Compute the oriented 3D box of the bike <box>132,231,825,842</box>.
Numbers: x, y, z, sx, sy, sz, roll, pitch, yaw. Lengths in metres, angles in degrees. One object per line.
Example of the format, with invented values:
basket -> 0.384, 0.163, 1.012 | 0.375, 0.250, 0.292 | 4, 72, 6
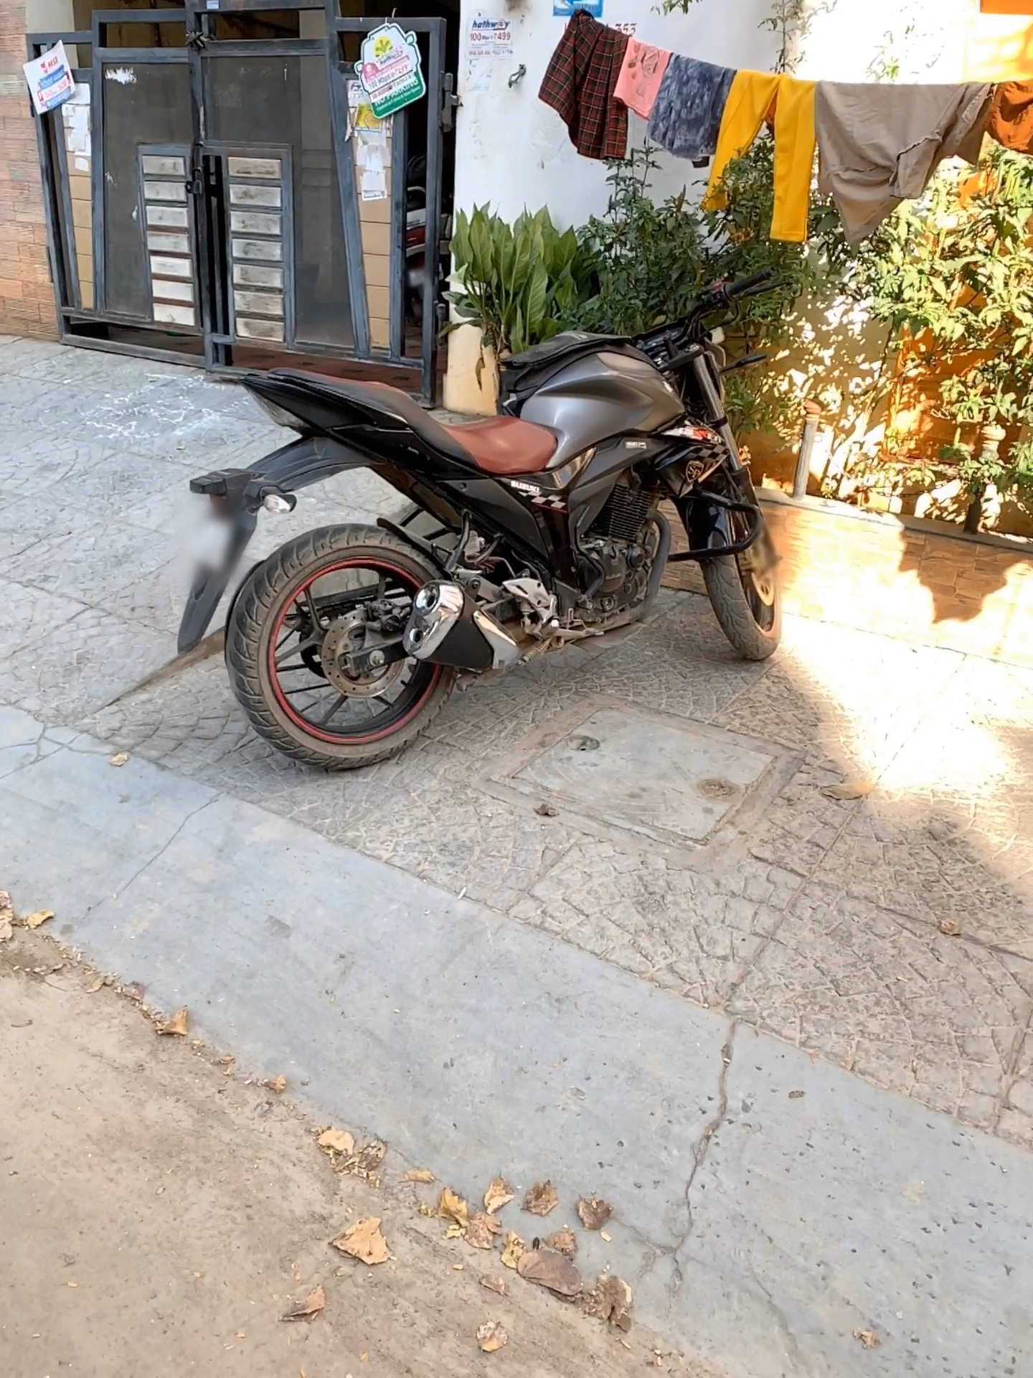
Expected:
bike -> -0.062, -0.563, 2.781 | 1.627, 1.140, 0.811 | -18, 31, -38
